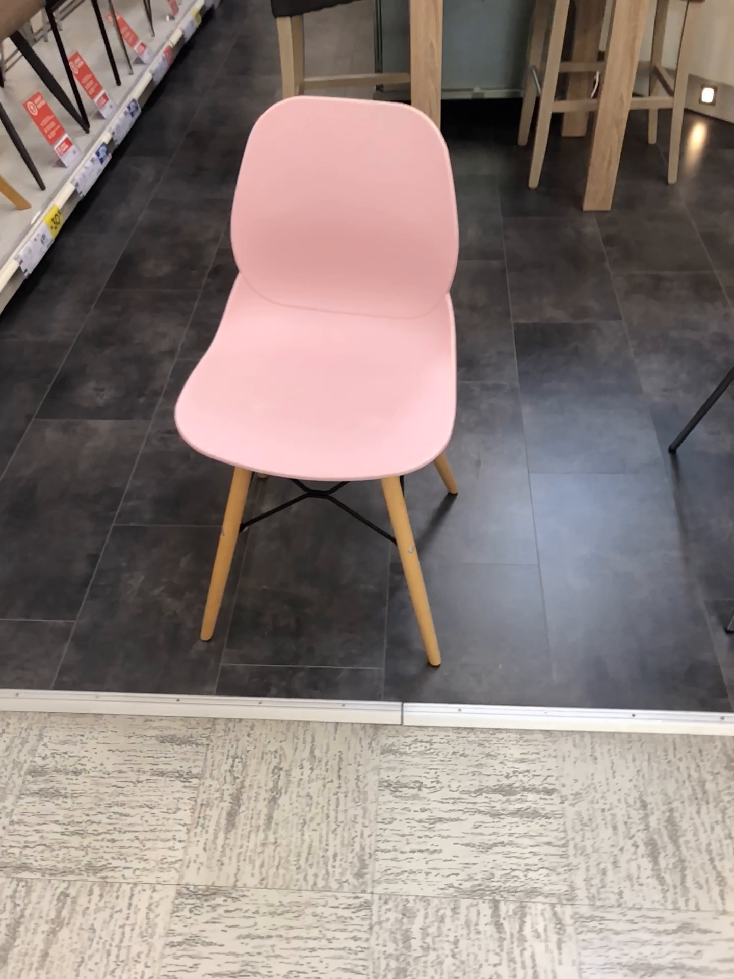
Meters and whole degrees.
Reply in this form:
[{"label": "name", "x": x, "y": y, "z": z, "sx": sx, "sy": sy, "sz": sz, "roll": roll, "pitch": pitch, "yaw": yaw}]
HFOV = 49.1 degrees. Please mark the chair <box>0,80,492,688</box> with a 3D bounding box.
[{"label": "chair", "x": -0.109, "y": -0.155, "z": 1.392, "sx": 0.551, "sy": 0.847, "sz": 0.553, "roll": 5, "pitch": 46, "yaw": 7}]
